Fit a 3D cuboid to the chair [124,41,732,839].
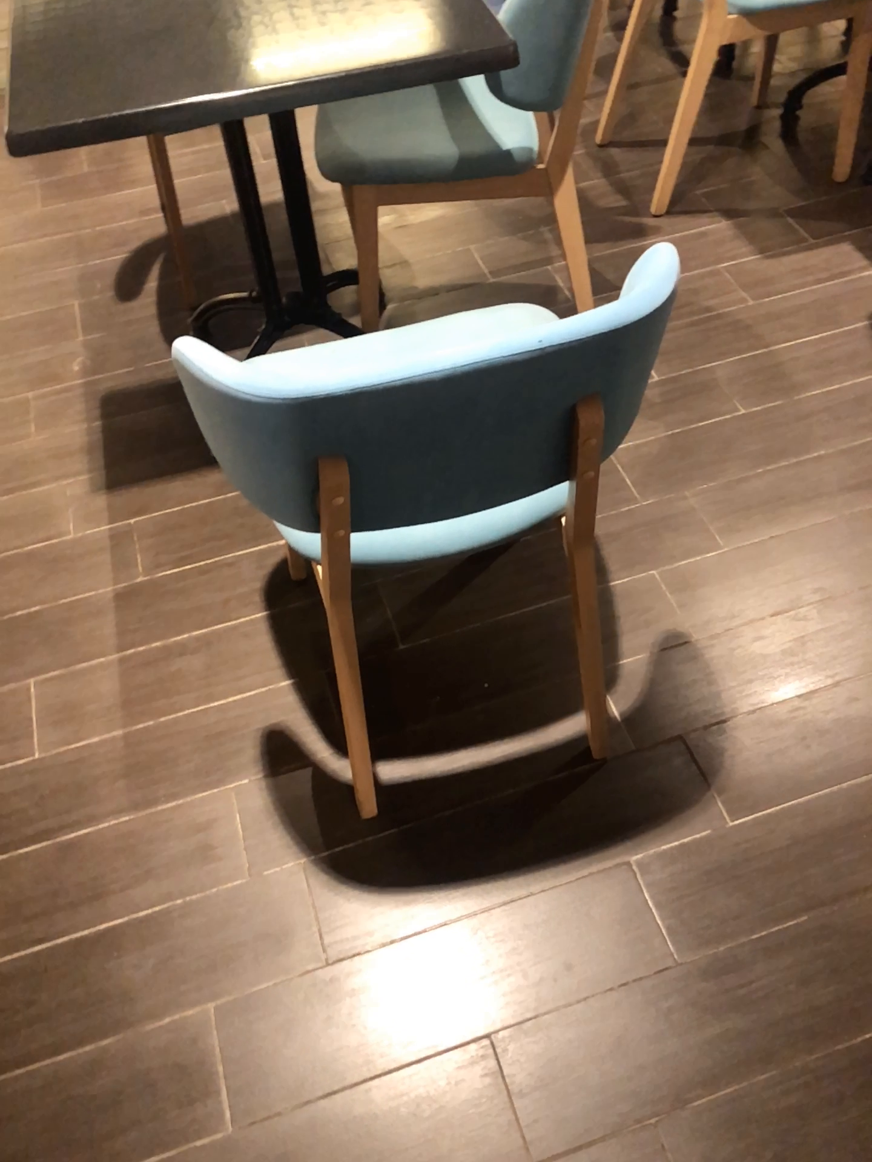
[{"bbox_3d":[-0.026,-0.127,1.243,0.480,0.817,0.512,-13,52,-6],"label":"chair"}]
